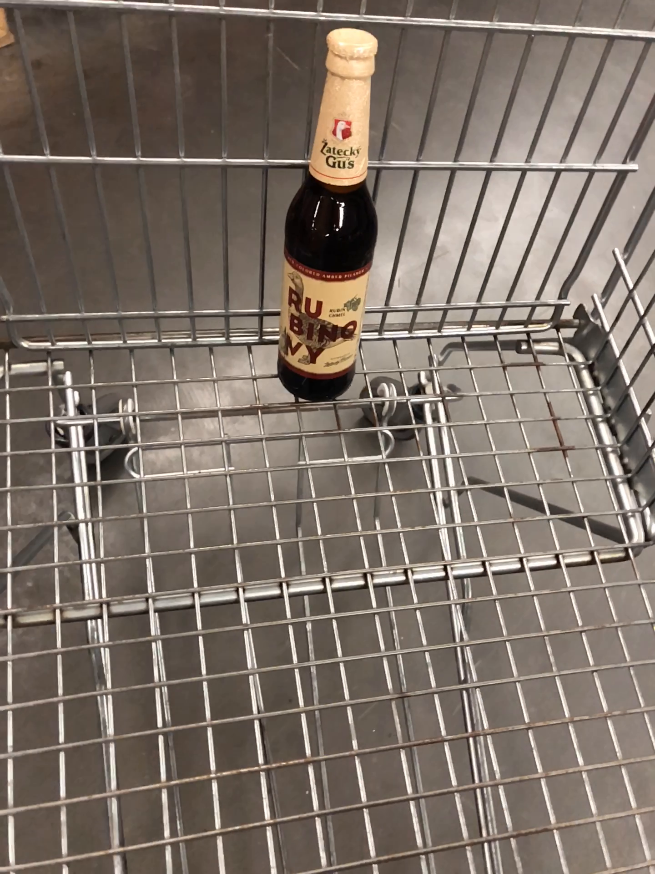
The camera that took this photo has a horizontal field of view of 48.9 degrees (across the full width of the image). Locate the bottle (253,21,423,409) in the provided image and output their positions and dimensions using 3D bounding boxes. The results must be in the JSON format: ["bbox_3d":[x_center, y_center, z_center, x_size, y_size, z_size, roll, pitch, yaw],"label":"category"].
[{"bbox_3d":[0.001,-0.141,0.505,0.080,0.239,0.080,5,44,-5],"label":"bottle"}]
